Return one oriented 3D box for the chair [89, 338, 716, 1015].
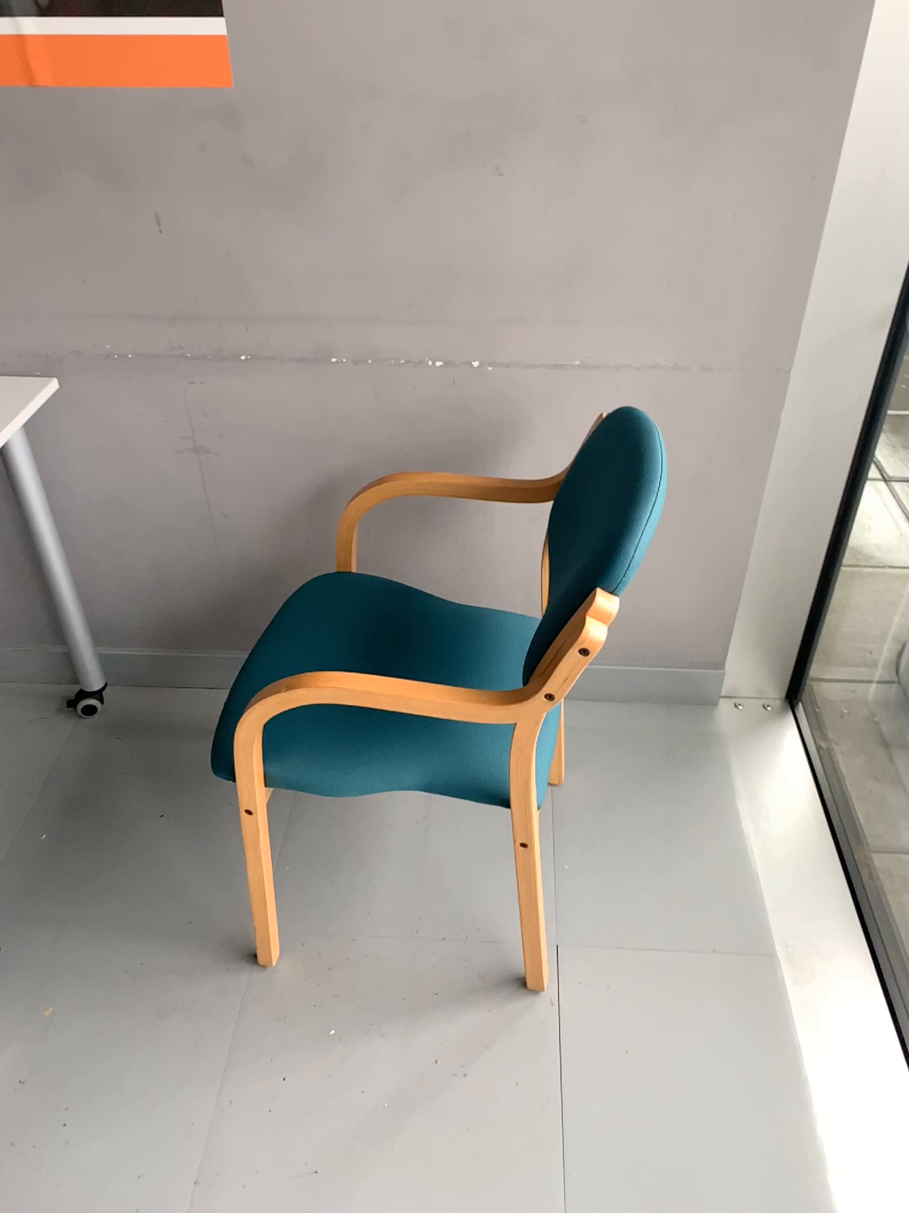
[{"bbox_3d":[-0.026,0.077,1.421,0.640,0.723,0.687,3,37,5],"label":"chair"}]
